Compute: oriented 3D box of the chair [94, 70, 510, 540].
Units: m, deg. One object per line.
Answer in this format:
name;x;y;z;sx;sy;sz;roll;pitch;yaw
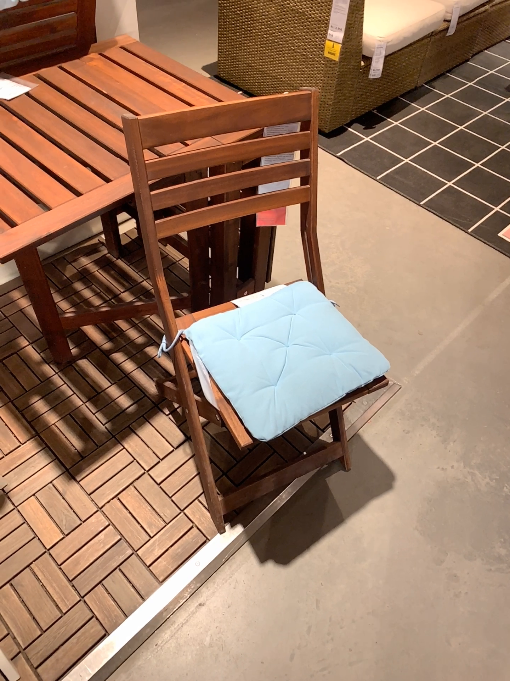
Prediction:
chair;0.028;-0.042;1.130;0.470;0.778;0.521;-20;55;-20
